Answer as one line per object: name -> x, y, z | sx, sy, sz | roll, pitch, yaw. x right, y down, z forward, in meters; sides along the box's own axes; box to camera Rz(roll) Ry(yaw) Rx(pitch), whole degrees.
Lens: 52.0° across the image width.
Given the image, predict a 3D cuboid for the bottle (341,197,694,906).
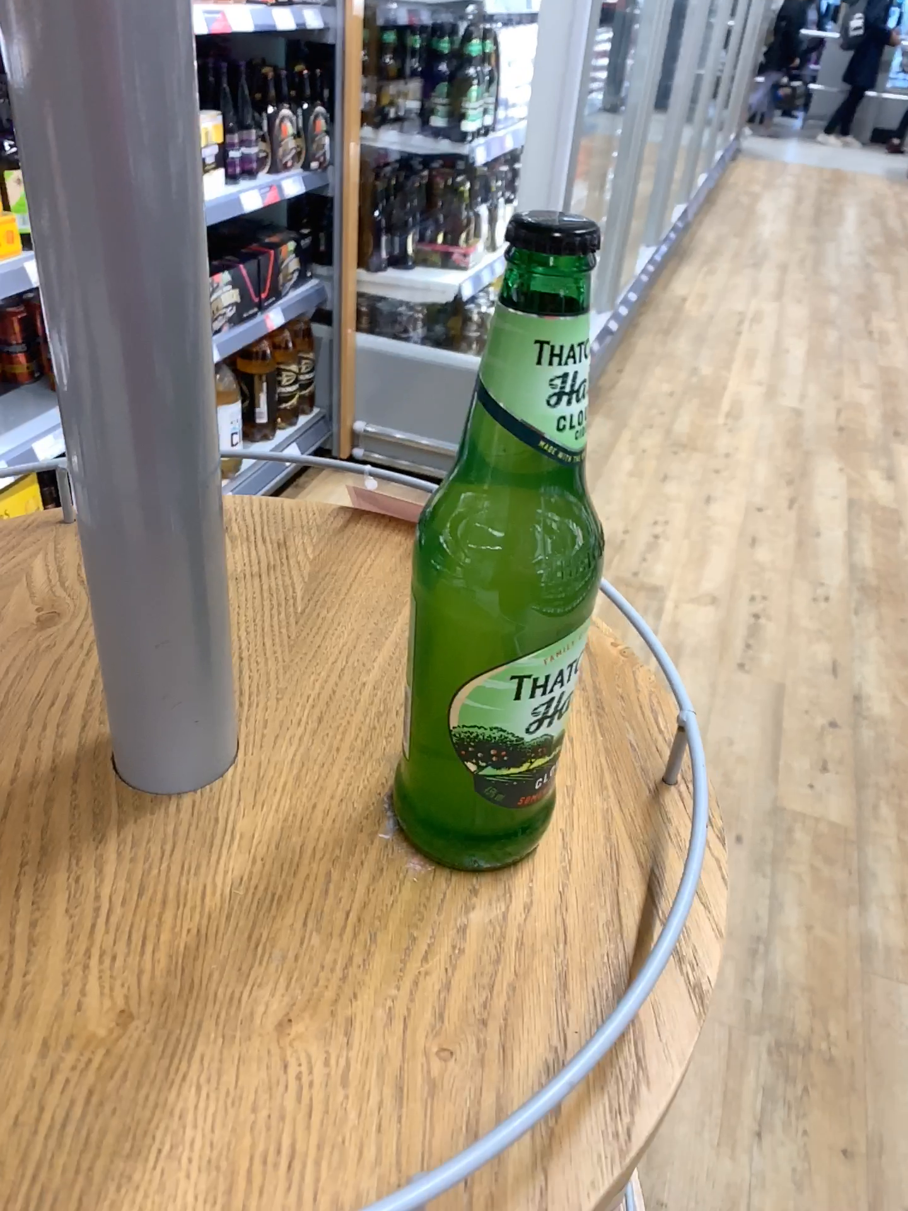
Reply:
bottle -> 0.013, -0.010, 0.342 | 0.078, 0.240, 0.070 | 21, 36, 21
